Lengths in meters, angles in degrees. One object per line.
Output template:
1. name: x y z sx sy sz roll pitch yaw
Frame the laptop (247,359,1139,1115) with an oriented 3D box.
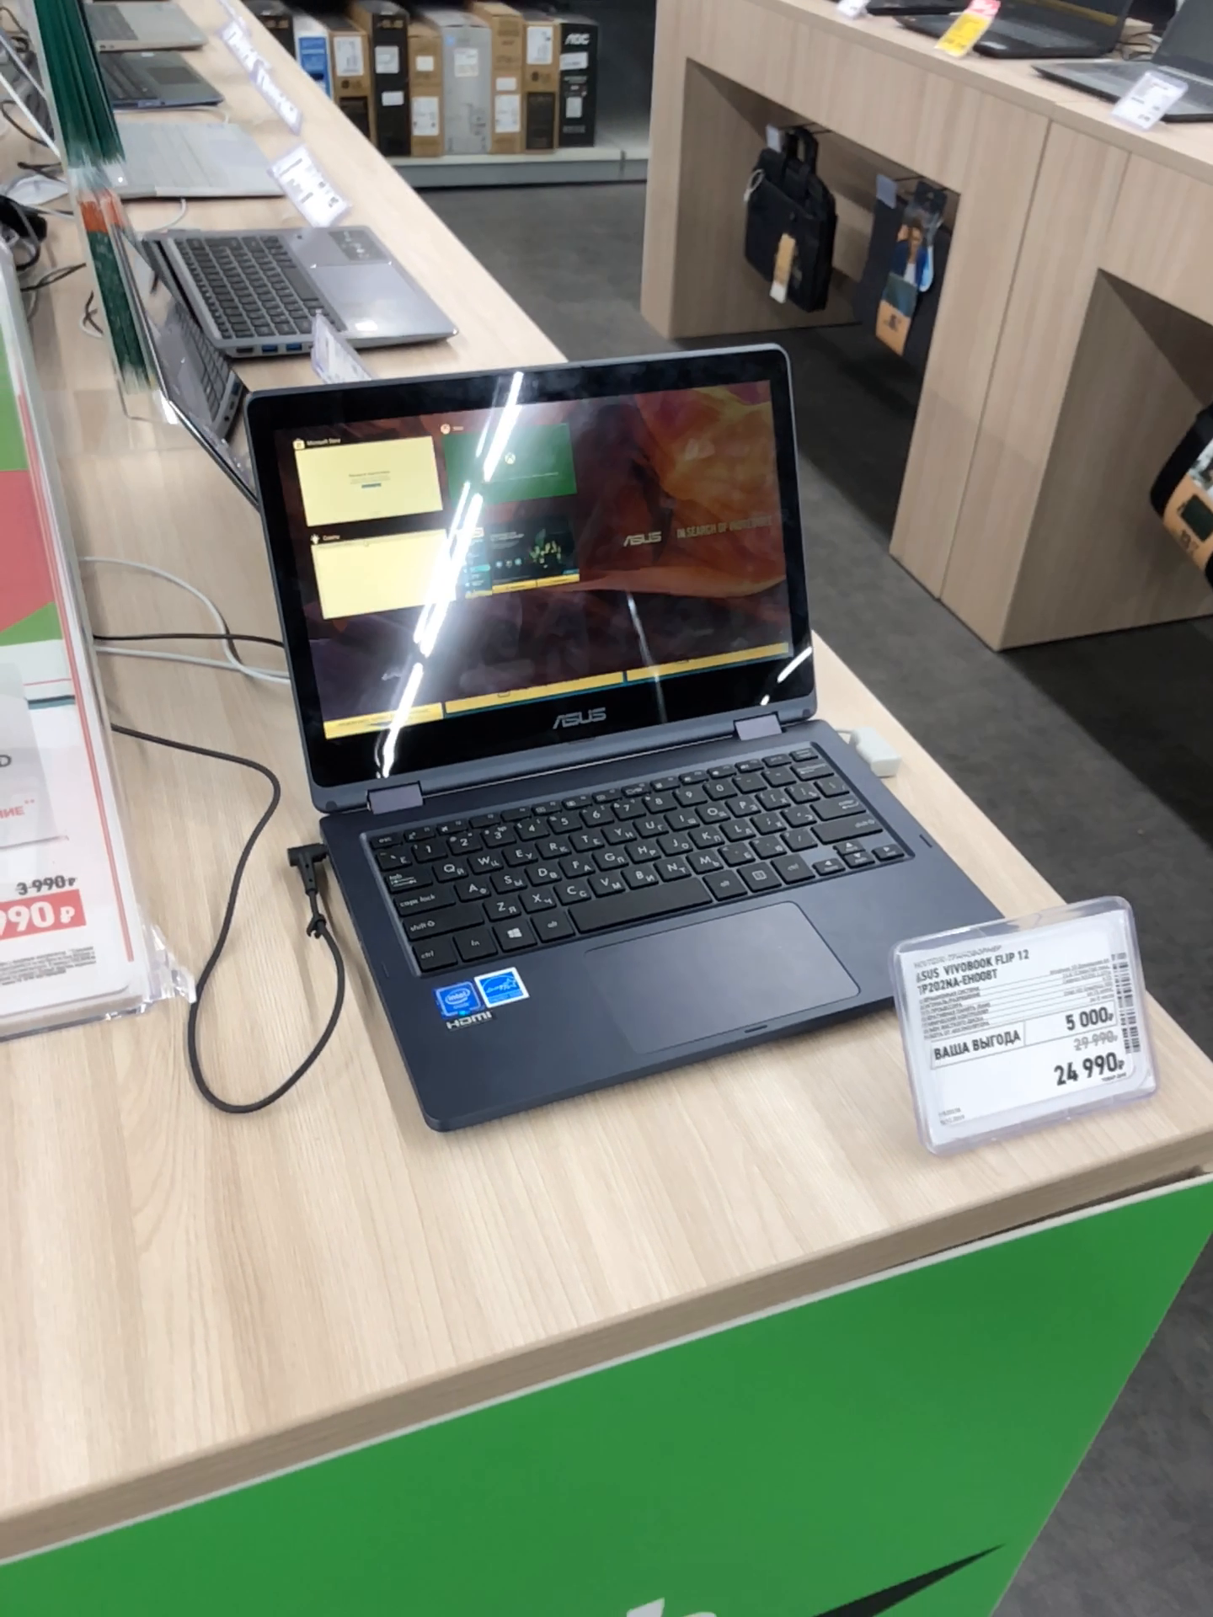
1. laptop: 0.013 -0.059 0.595 0.270 0.166 0.281 -12 41 -20

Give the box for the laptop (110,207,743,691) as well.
1. laptop: -0.115 -0.232 0.800 0.299 0.162 0.262 -11 41 -19
